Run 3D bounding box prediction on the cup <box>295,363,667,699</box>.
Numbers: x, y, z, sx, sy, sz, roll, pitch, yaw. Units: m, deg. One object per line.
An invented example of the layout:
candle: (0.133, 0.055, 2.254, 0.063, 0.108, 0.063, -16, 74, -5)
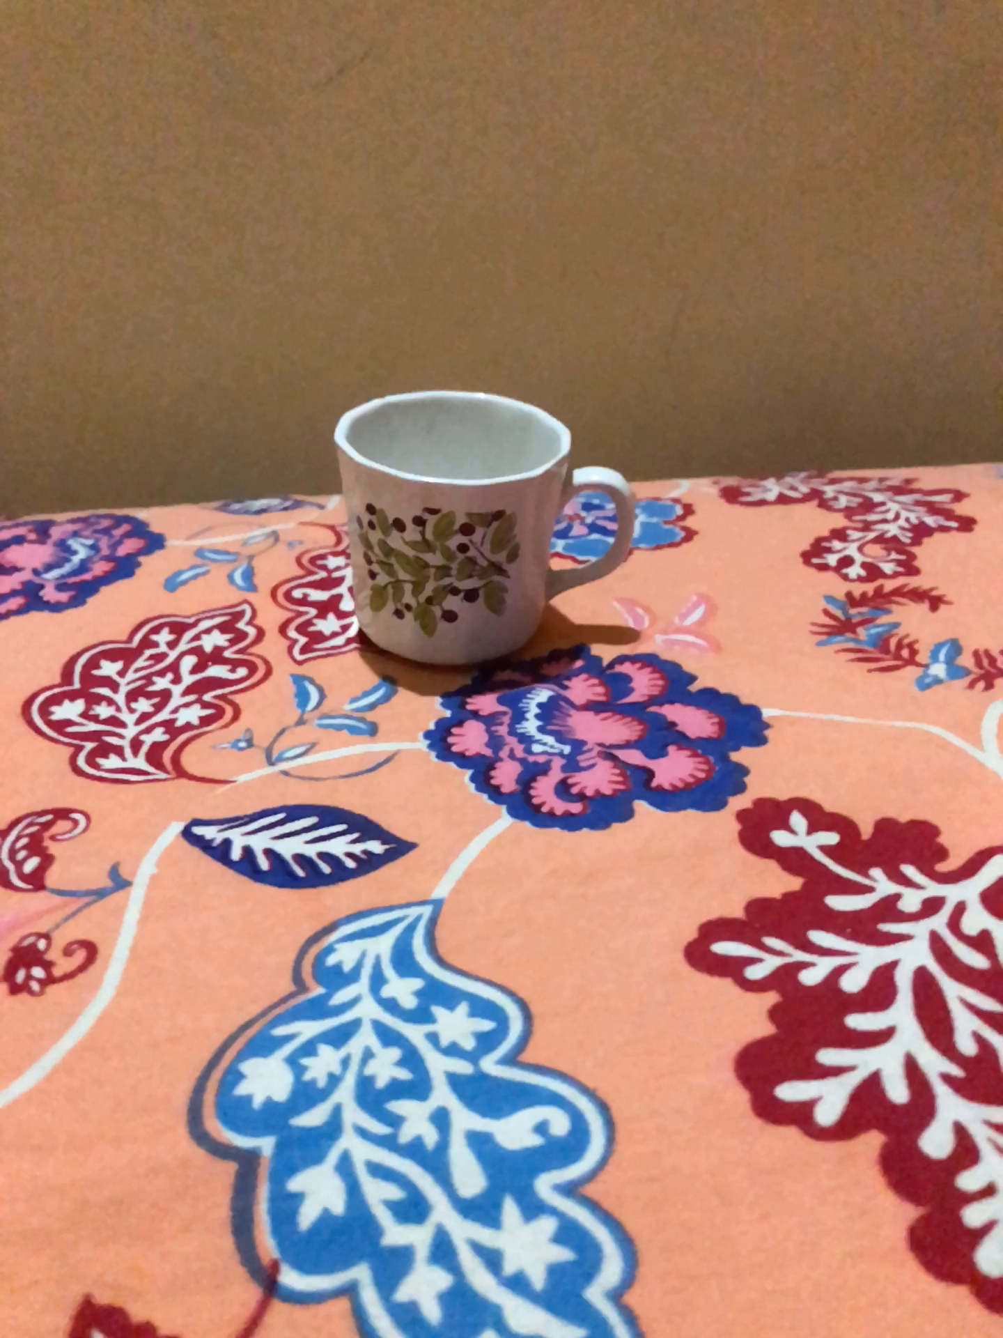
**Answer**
cup: (-0.001, -0.040, 0.312, 0.090, 0.069, 0.060, 3, 34, 7)
